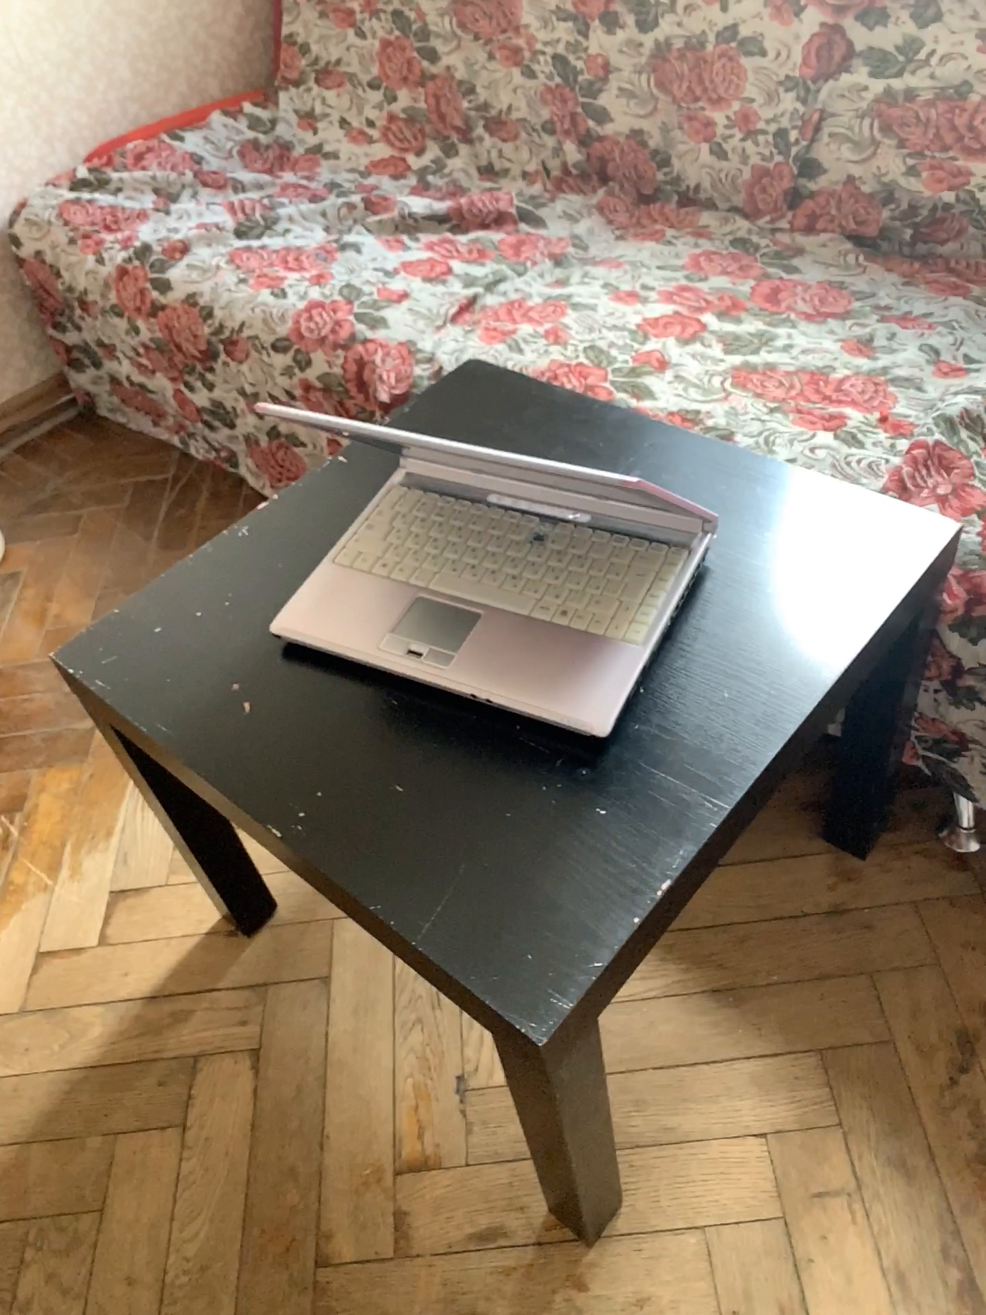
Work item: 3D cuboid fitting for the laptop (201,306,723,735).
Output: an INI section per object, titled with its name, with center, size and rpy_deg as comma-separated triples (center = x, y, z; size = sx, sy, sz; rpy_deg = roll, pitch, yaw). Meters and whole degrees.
[laptop]
center = -0.012, -0.119, 0.769
size = 0.305, 0.156, 0.226
rpy_deg = 16, 53, 24
